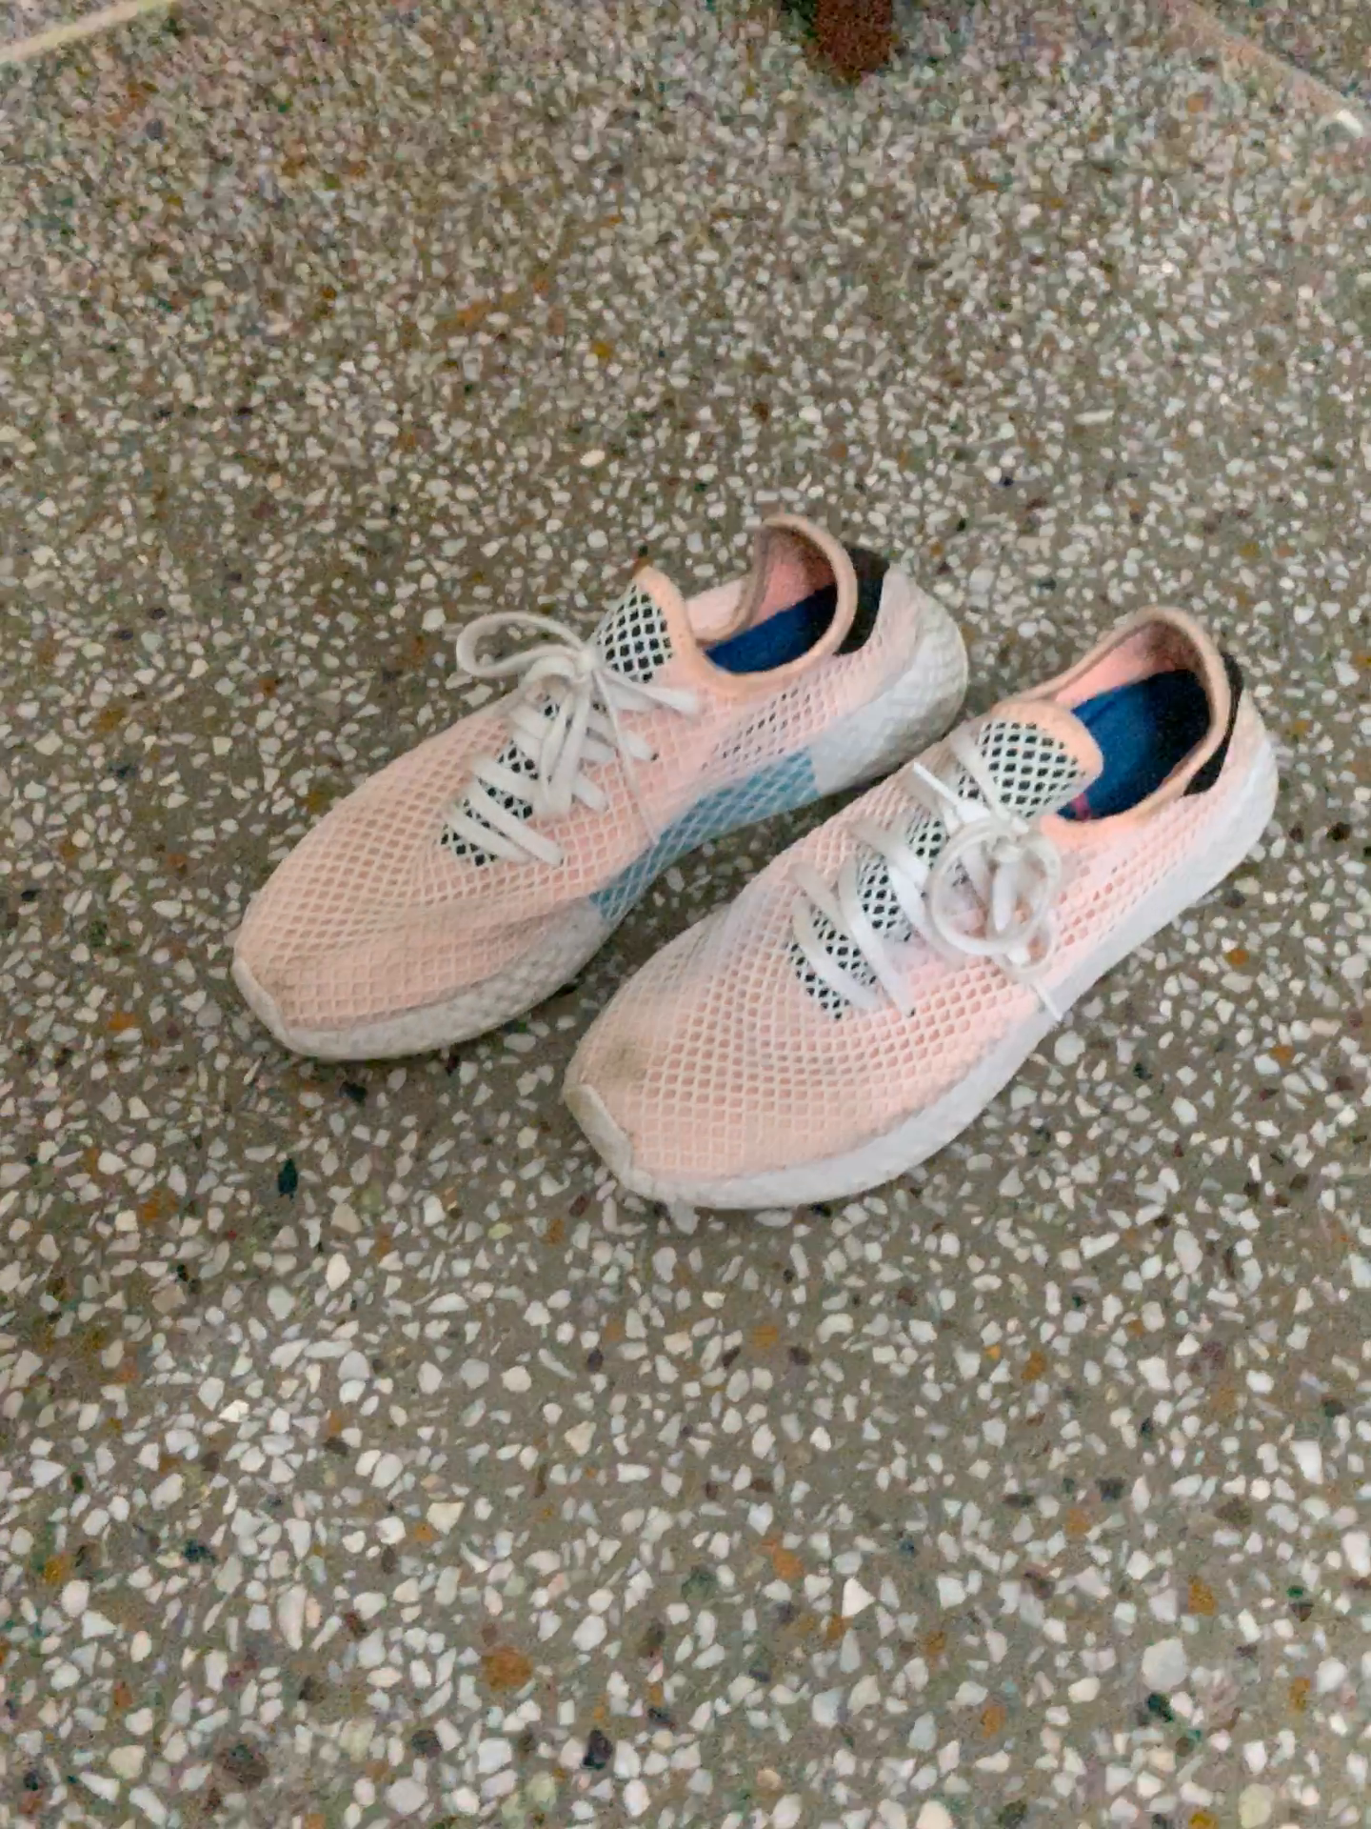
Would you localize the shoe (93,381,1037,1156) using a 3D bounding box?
[{"bbox_3d":[-0.035,-0.062,0.528,0.309,0.100,0.122,-33,65,-16],"label":"shoe"}]

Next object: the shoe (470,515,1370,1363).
[{"bbox_3d":[0.093,0.001,0.502,0.309,0.100,0.122,-35,65,-17],"label":"shoe"}]
